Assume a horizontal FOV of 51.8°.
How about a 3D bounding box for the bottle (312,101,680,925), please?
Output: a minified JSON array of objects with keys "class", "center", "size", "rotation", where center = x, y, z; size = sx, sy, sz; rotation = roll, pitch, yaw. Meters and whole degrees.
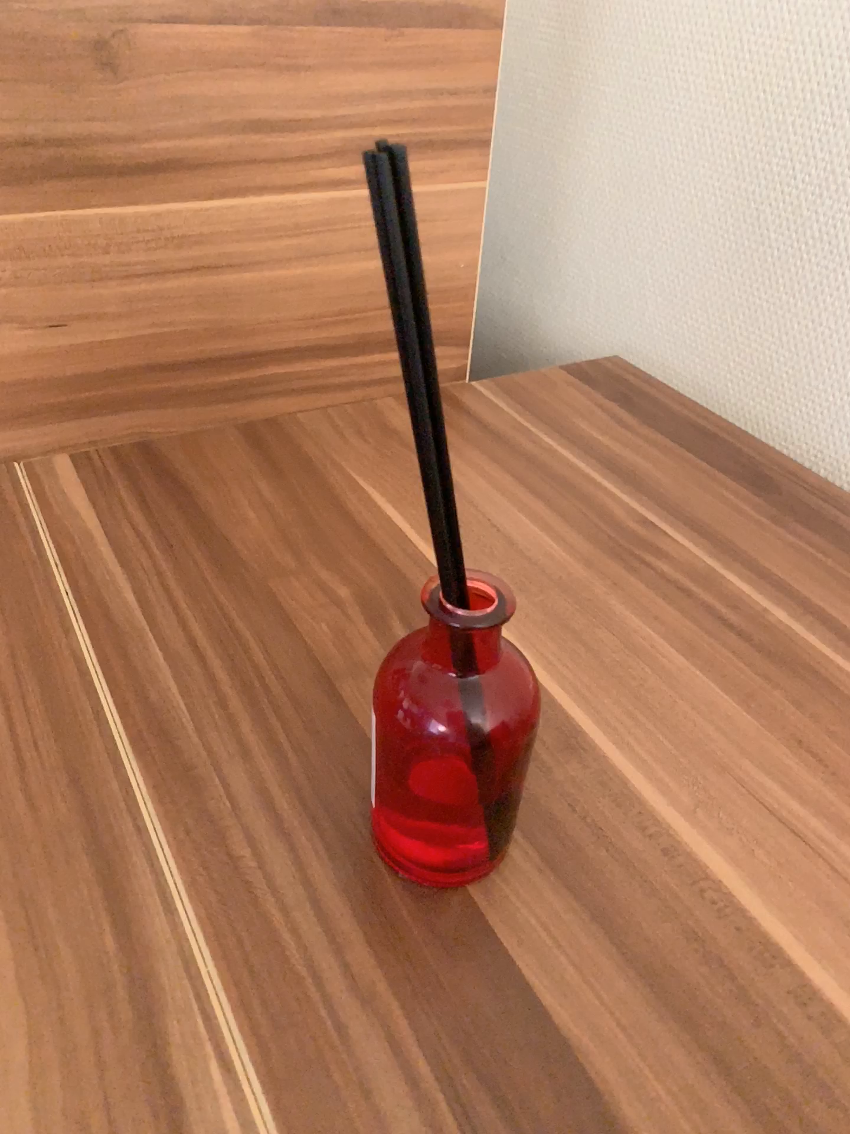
[{"class":"bottle","center":[0.005,0.004,0.252],"size":[0.060,0.239,0.050],"rotation":[-12,40,-22]}]
